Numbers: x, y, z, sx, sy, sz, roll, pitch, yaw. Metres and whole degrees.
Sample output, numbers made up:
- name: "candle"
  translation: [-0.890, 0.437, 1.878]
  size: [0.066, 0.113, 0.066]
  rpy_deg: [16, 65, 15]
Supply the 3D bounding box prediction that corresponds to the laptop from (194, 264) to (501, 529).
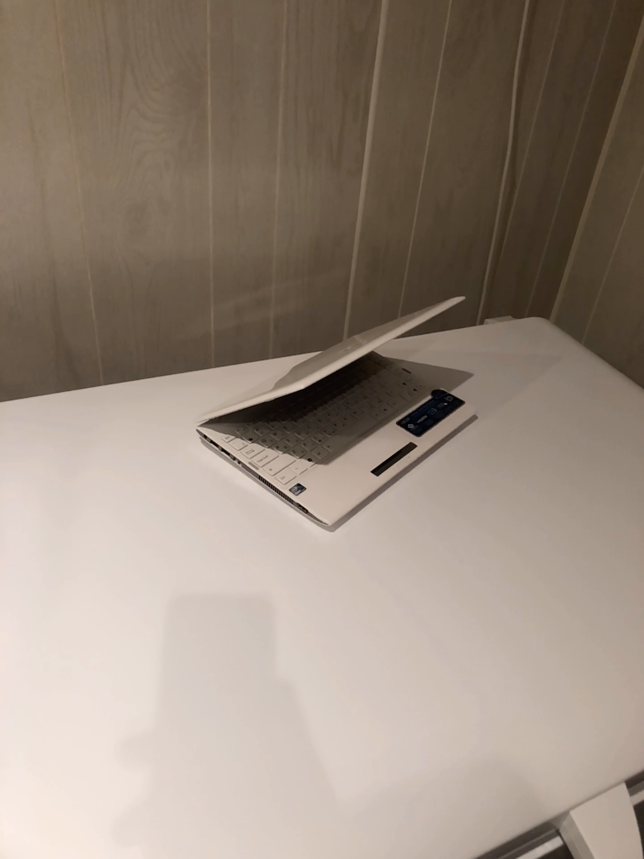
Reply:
- name: "laptop"
  translation: [0.035, -0.057, 0.819]
  size: [0.198, 0.115, 0.300]
  rpy_deg: [33, 44, 25]
